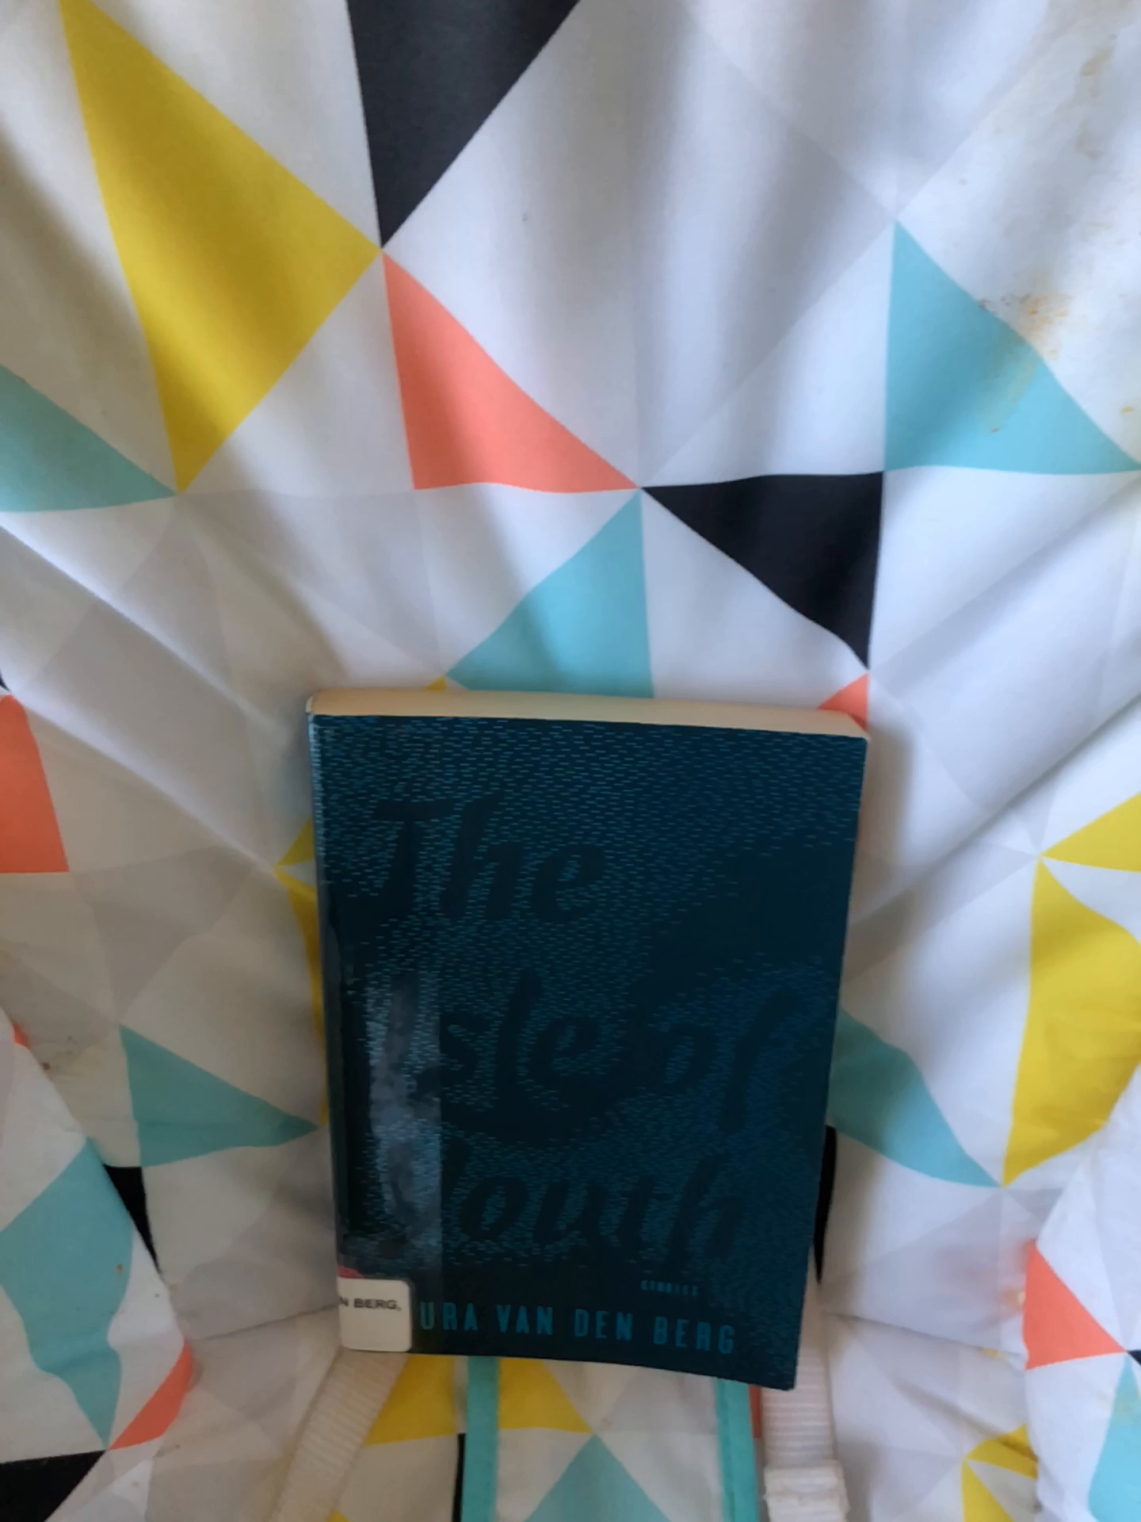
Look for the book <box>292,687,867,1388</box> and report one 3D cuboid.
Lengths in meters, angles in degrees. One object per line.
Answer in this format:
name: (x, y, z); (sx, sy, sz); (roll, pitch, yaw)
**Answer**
book: (0.001, 0.074, 0.322); (0.124, 0.032, 0.180); (2, 112, 4)
